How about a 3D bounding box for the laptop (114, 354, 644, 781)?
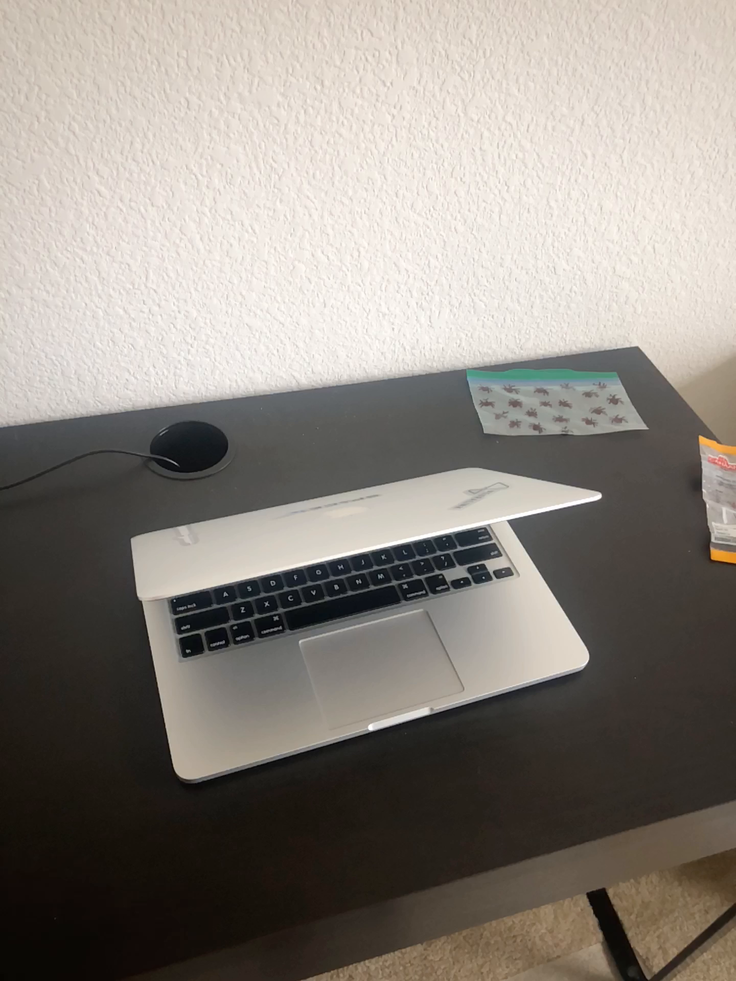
[{"bbox_3d":[-0.007,0.038,0.602,0.309,0.133,0.225,-11,46,-16],"label":"laptop"}]
